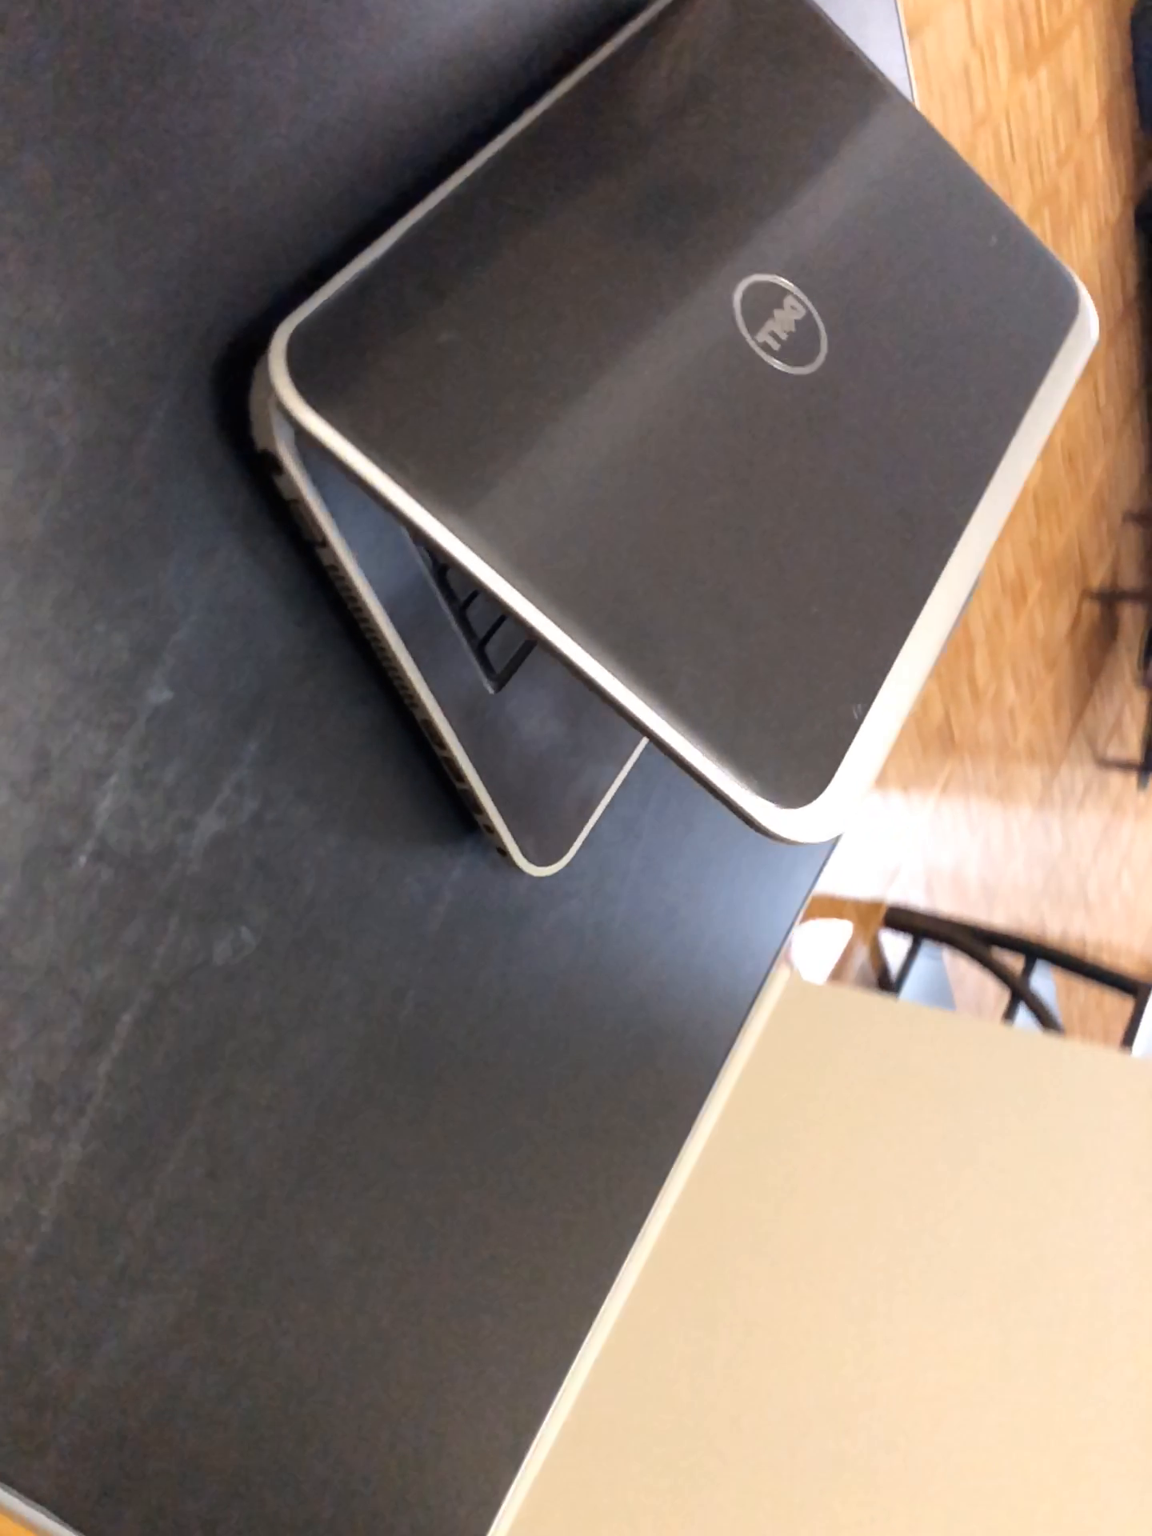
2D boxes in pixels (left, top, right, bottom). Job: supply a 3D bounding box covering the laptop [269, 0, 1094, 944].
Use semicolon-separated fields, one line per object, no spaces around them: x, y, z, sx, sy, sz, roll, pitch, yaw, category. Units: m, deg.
0.086;-0.151;0.532;0.357;0.137;0.240;-56;136;-32;laptop
